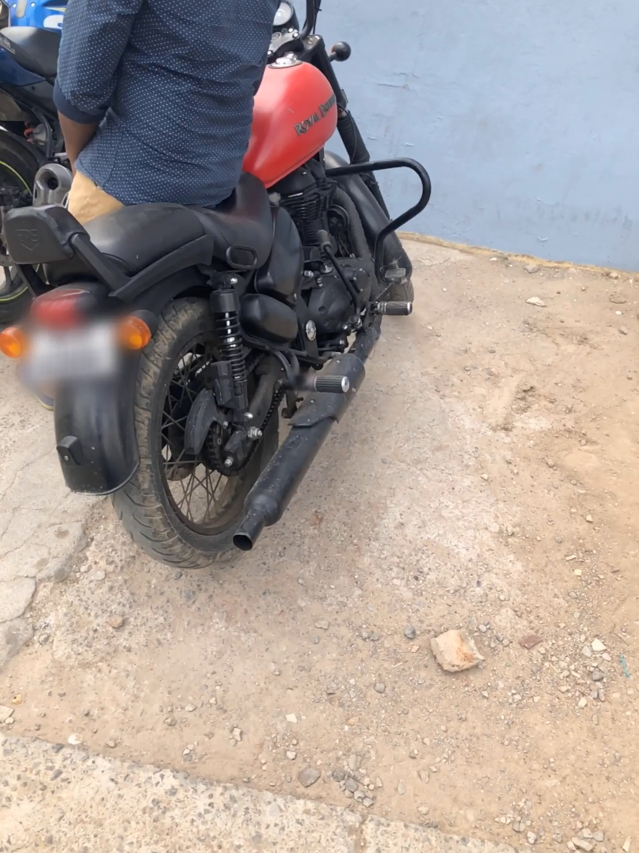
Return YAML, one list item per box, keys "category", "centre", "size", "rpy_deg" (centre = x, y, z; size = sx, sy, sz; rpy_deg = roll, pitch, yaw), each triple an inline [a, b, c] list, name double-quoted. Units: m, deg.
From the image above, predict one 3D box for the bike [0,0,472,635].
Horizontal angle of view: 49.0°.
- category: "bike"
  centre: [-0.277, -0.672, 1.731]
  size: [0.776, 1.245, 1.549]
  rpy_deg: [16, 43, 6]
